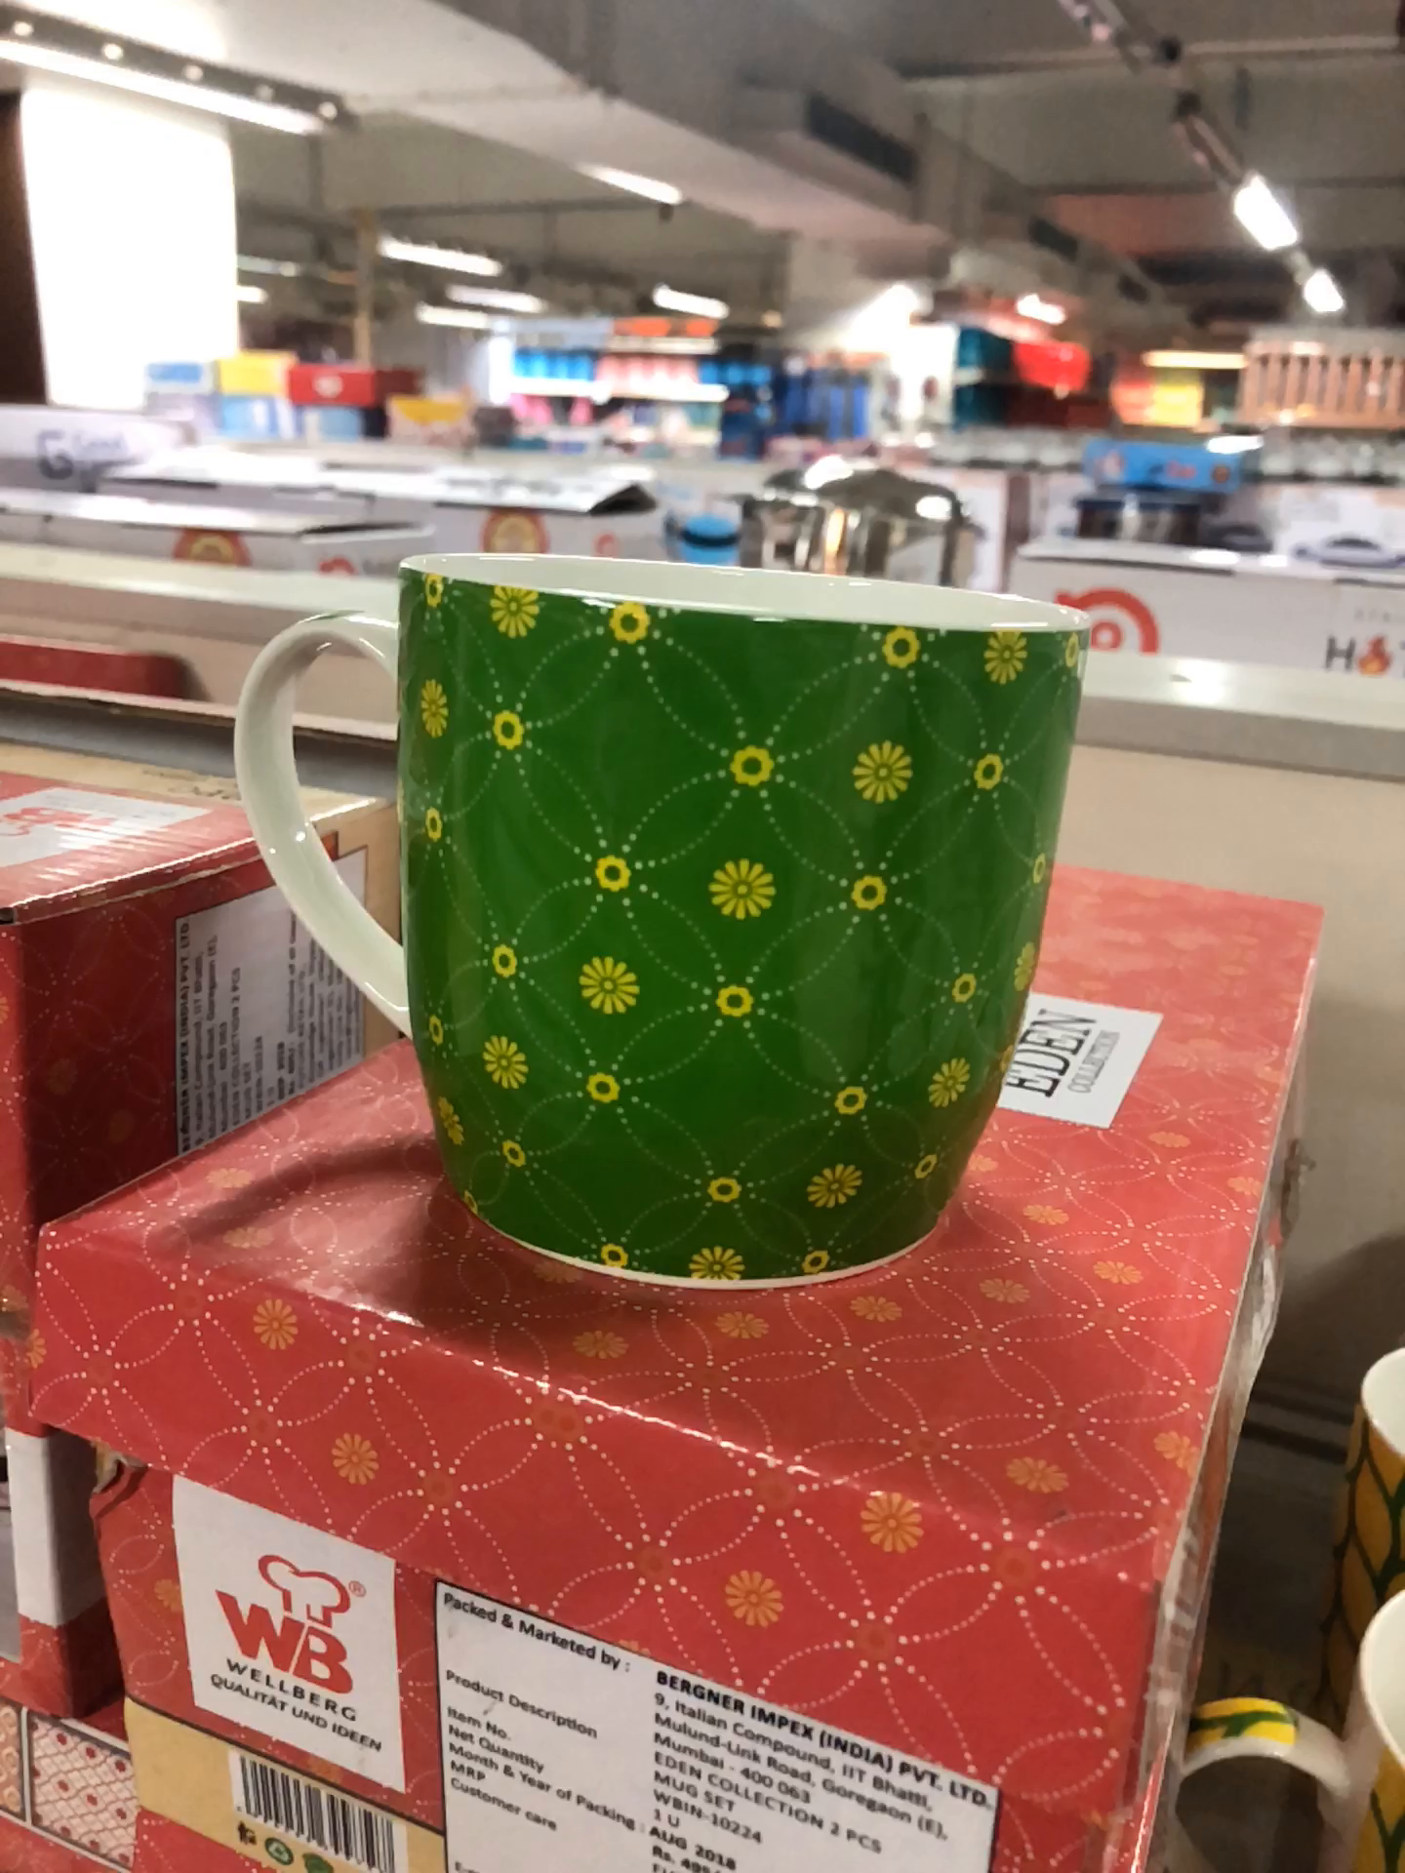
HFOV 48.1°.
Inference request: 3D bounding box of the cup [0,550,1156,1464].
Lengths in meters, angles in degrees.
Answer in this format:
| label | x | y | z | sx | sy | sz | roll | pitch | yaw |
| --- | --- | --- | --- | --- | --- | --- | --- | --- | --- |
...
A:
| label | x | y | z | sx | sy | sz | roll | pitch | yaw |
| --- | --- | --- | --- | --- | --- | --- | --- | --- | --- |
| cup | -0.013 | -0.006 | 0.208 | 0.120 | 0.080 | 0.090 | 9 | 17 | 22 |
